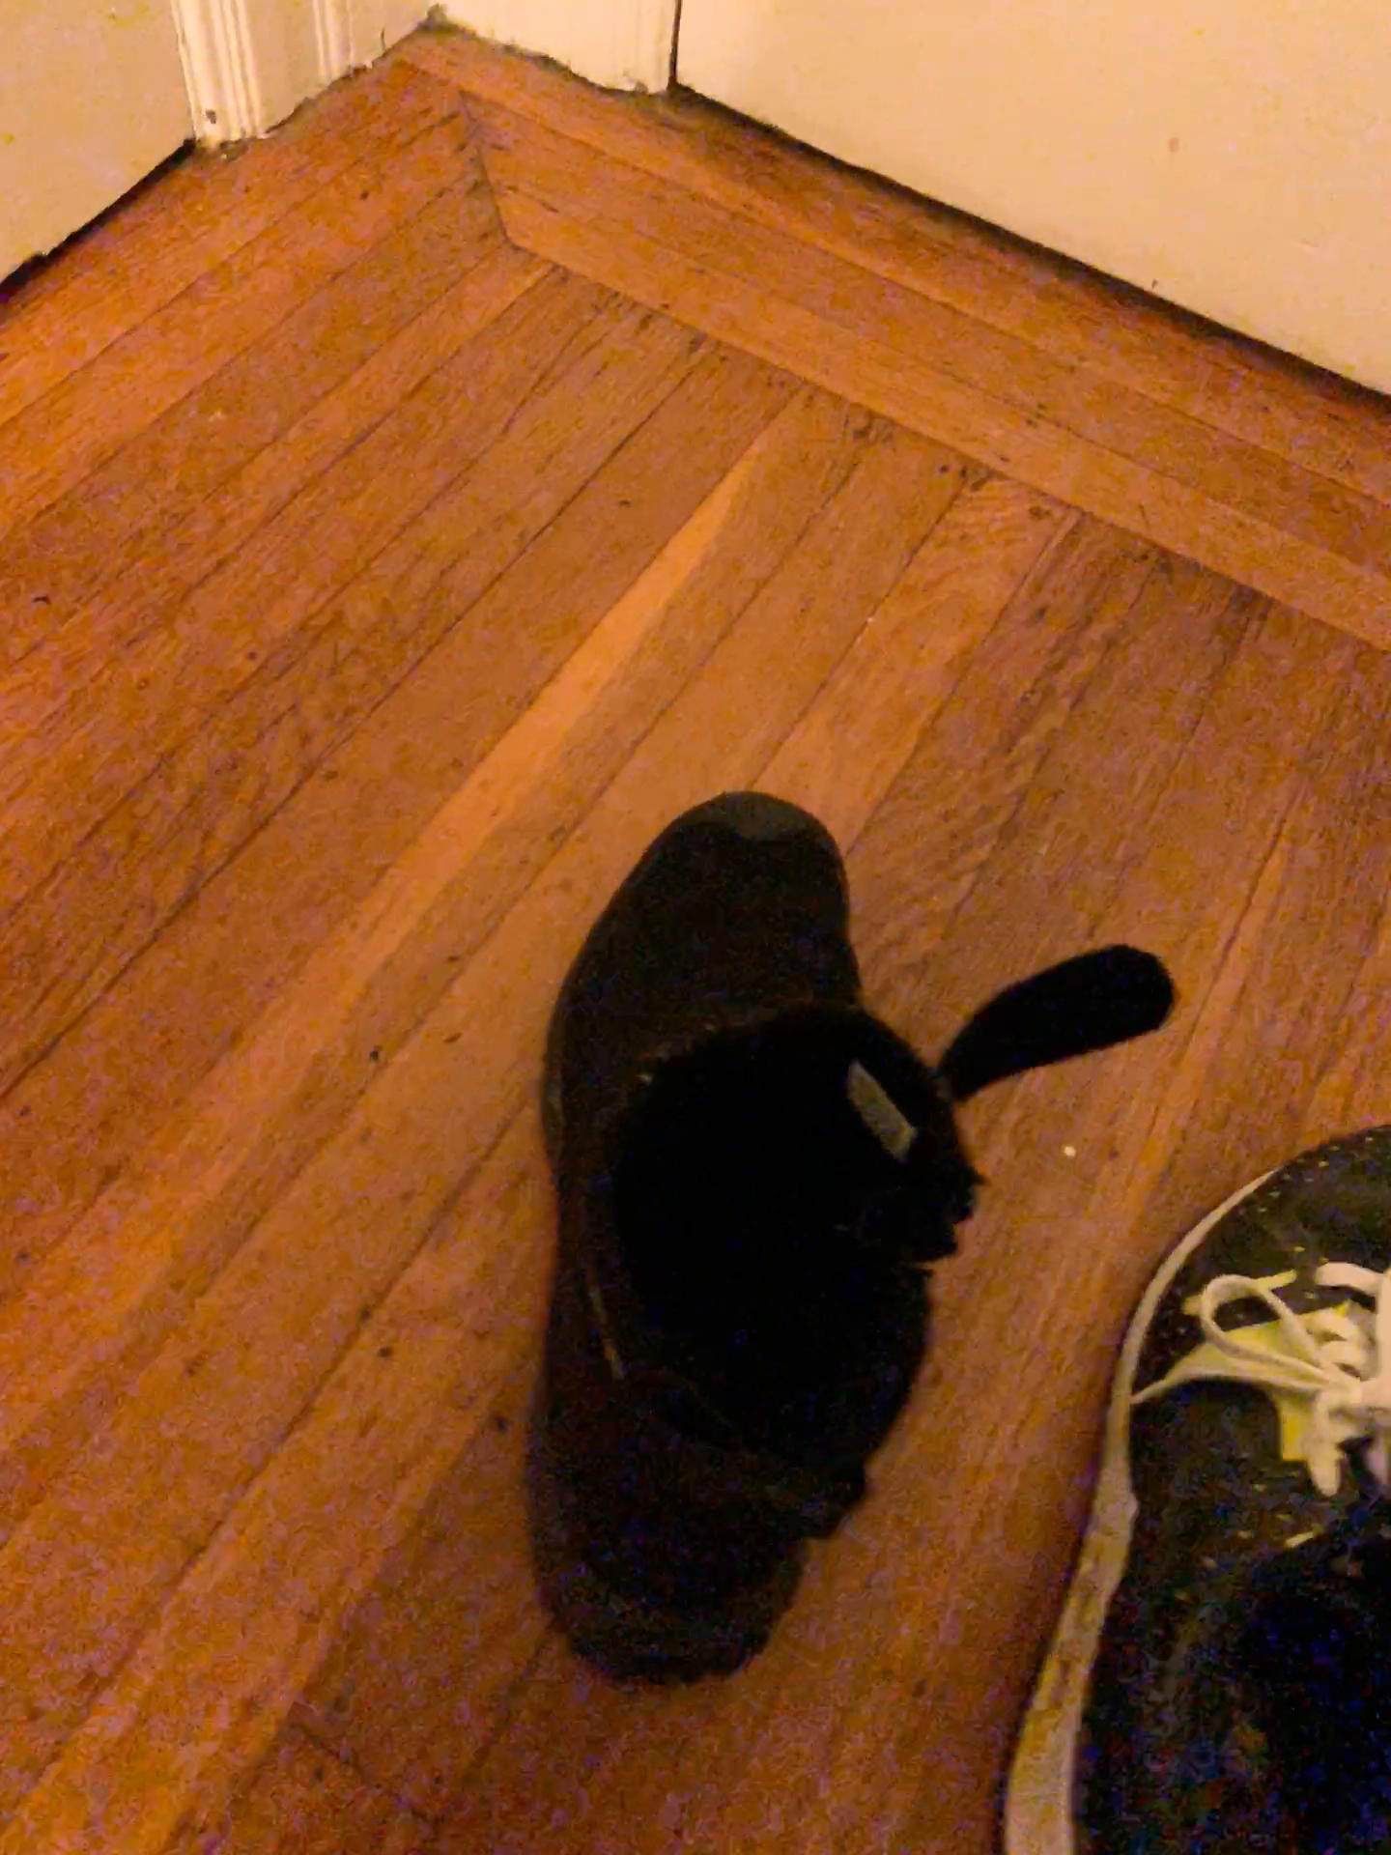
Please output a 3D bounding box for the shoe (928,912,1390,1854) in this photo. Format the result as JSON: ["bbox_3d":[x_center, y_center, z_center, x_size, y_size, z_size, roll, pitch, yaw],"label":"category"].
[{"bbox_3d":[0.184,0.155,0.404,0.120,0.100,0.291,25,60,8],"label":"shoe"}]

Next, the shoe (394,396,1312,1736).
[{"bbox_3d":[0.030,0.055,0.427,0.160,0.239,0.311,8,60,-3],"label":"shoe"}]
